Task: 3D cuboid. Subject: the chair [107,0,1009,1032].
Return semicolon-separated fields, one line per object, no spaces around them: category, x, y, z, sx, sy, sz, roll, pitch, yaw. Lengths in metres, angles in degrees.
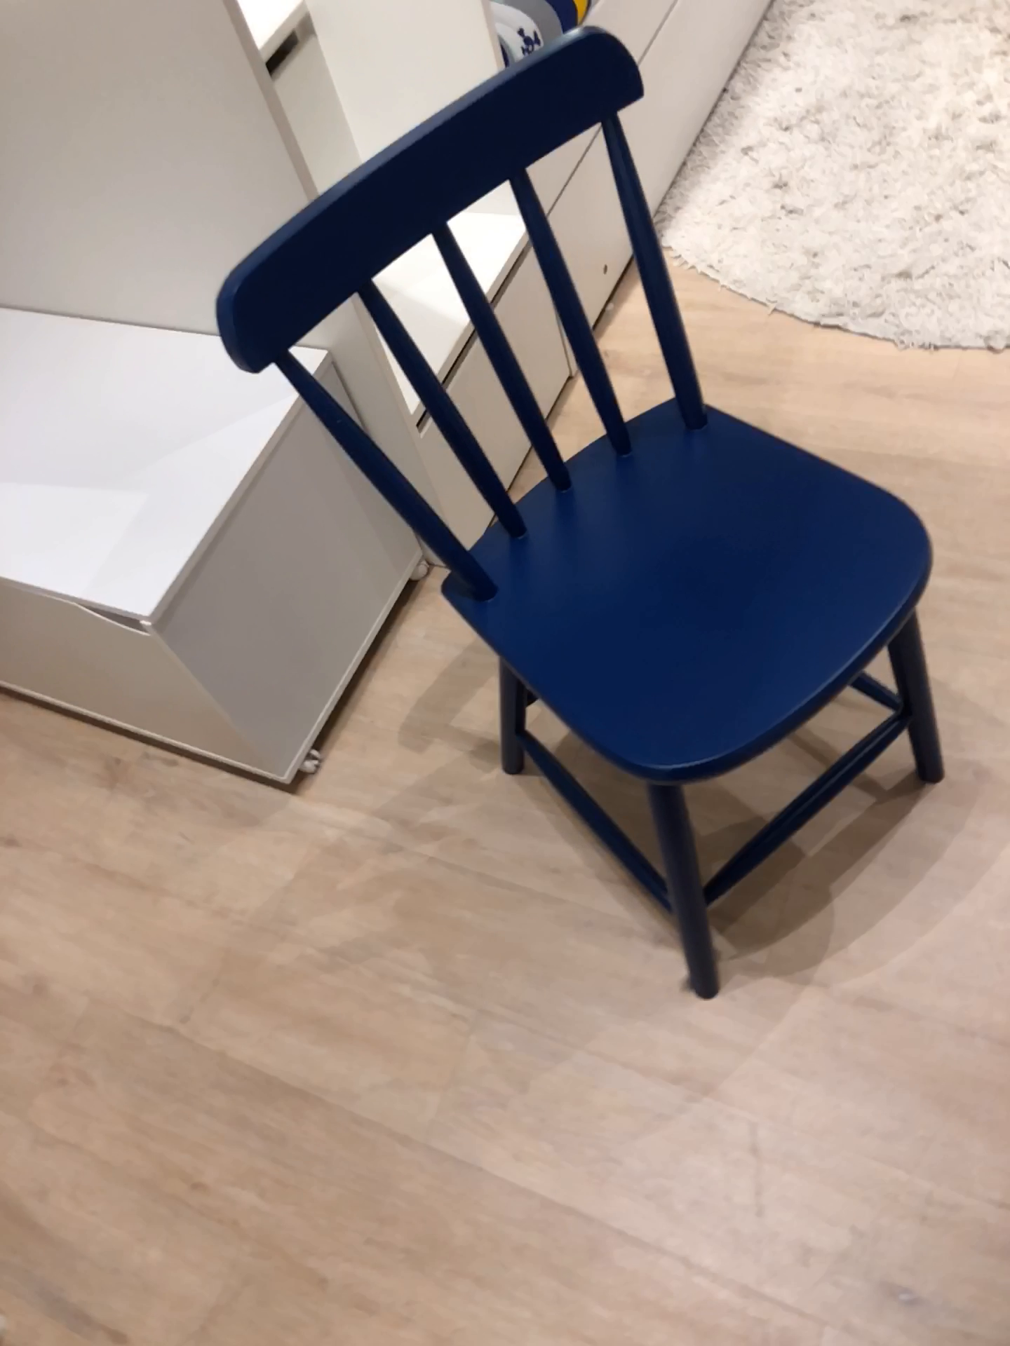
chair;0.136;-0.123;1.007;0.460;0.806;0.482;-39;55;-11
